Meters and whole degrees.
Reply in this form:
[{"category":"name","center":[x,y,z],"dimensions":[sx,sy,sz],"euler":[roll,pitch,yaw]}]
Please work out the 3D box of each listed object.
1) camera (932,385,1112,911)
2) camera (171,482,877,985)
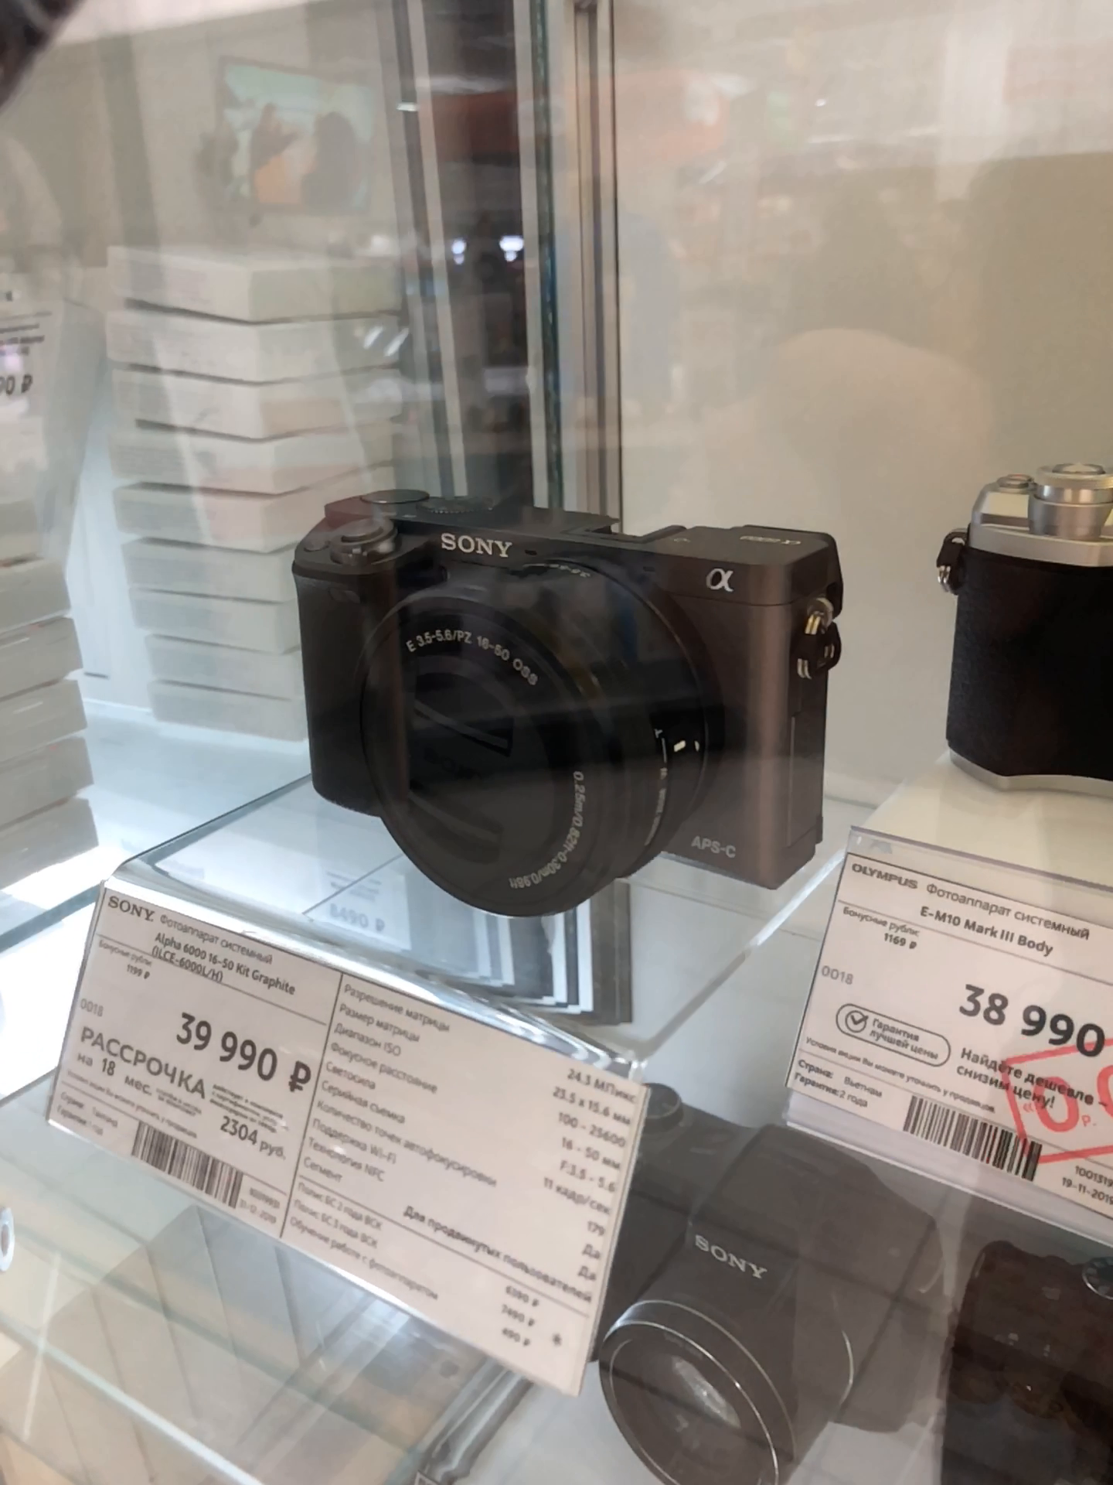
[{"category":"camera","center":[0.160,-0.032,0.272],"dimensions":[0.123,0.081,0.087],"euler":[11,25,34]},{"category":"camera","center":[-0.008,-0.012,0.264],"dimensions":[0.130,0.070,0.066],"euler":[12,25,34]}]
